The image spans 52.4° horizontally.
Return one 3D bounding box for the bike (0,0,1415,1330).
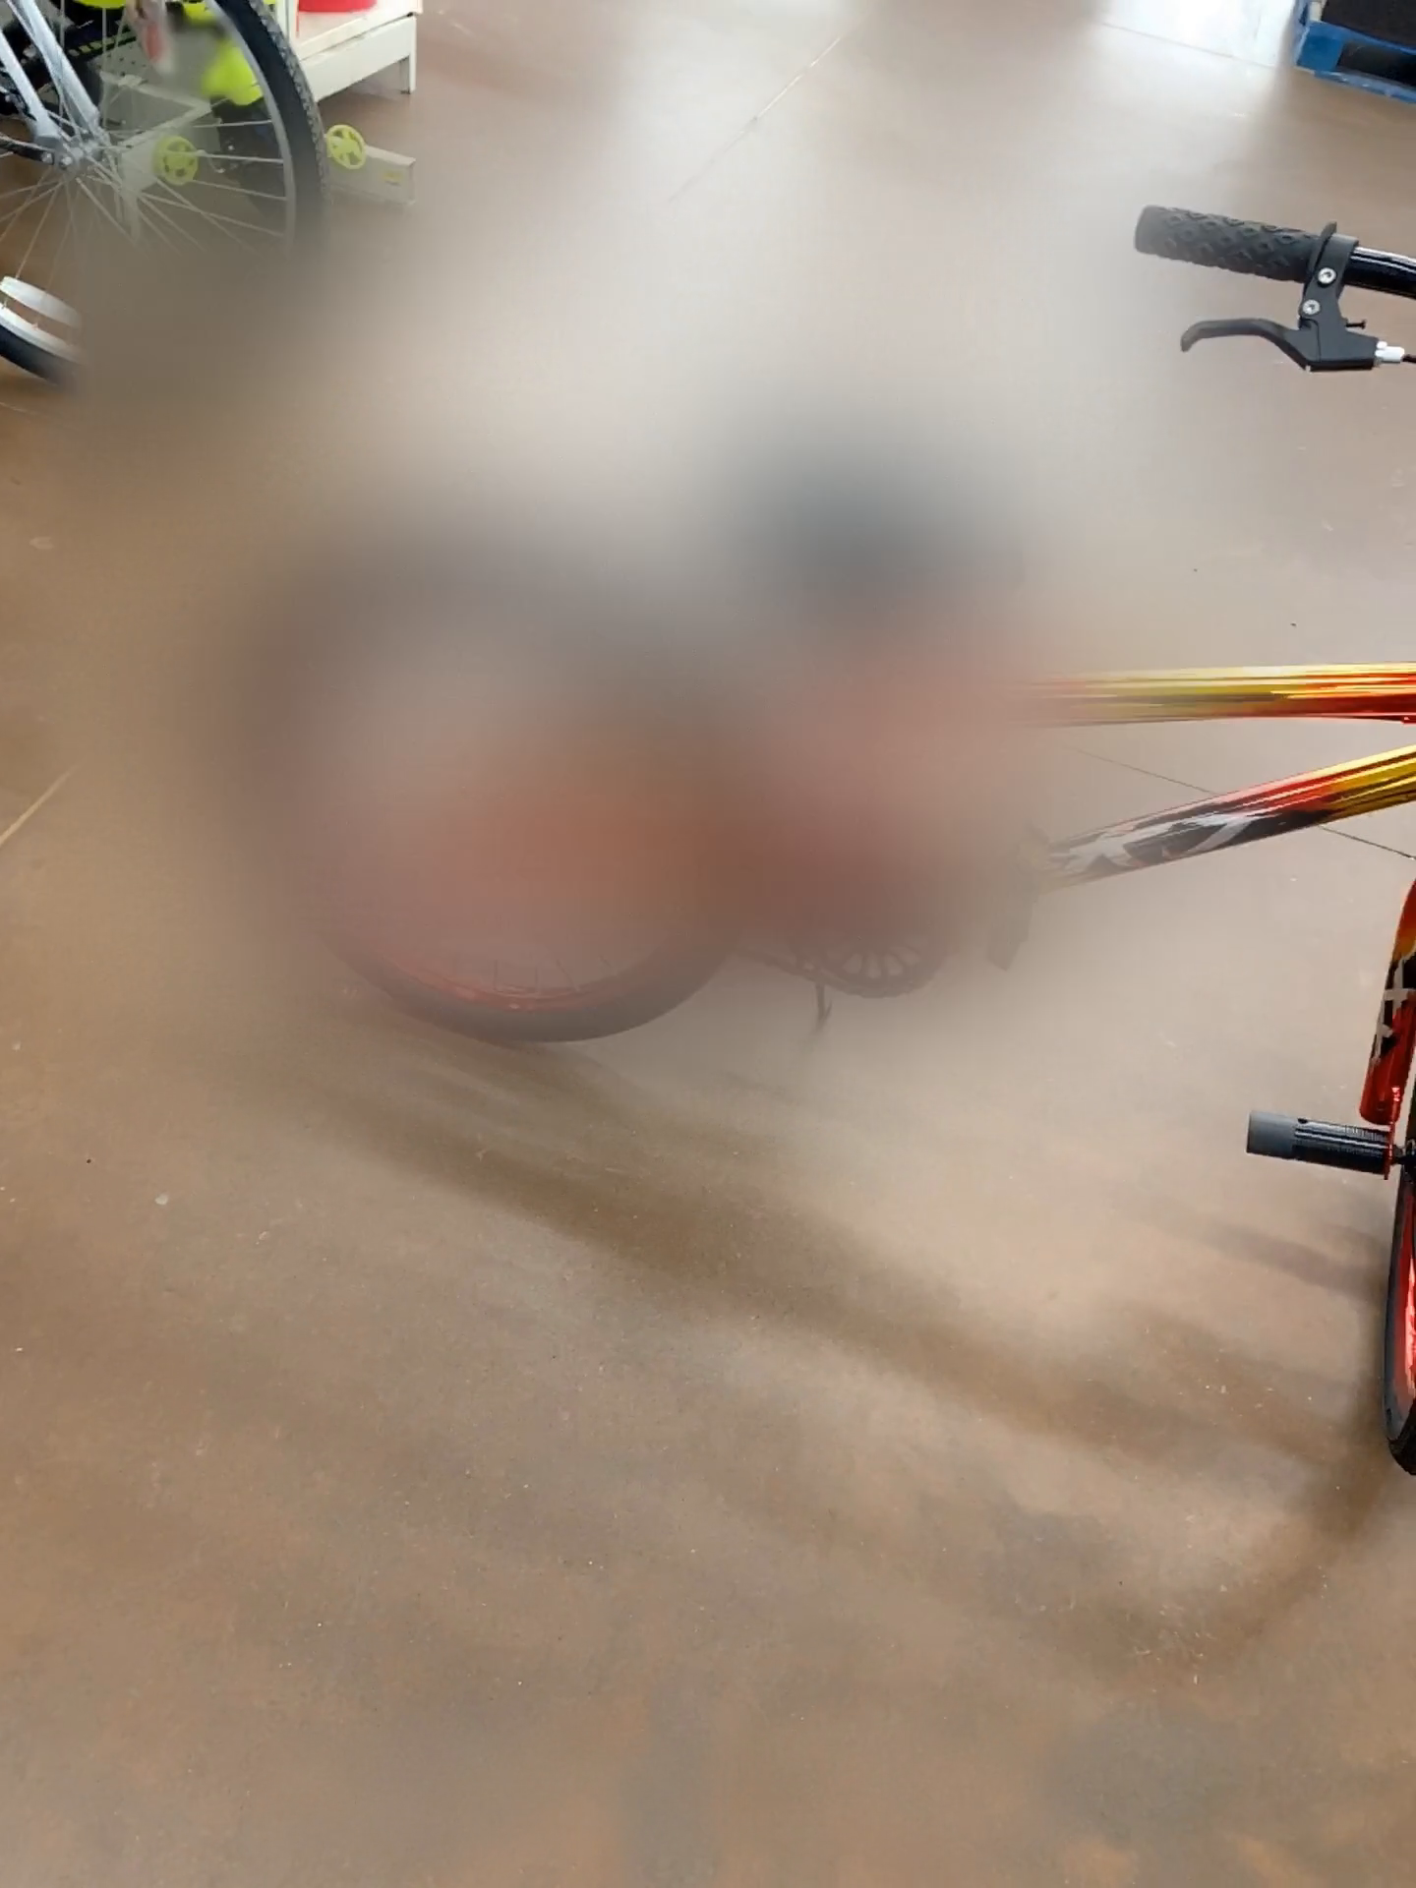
[{"bbox_3d":[0.203,-0.301,1.147,1.122,0.925,0.707,11,45,0],"label":"bike"}]
